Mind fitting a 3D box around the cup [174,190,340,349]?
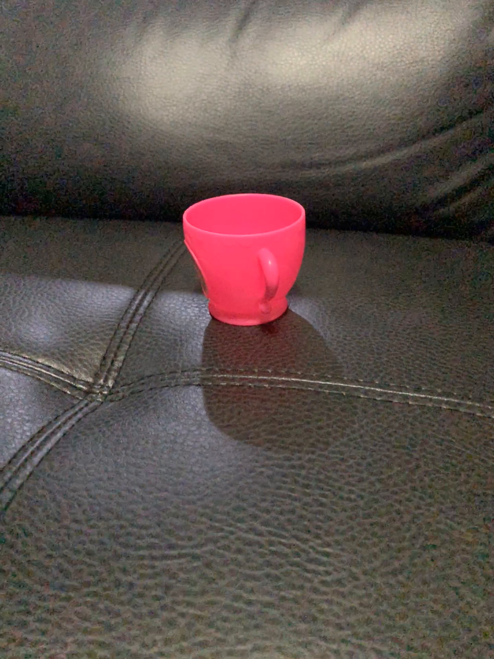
[{"bbox_3d":[0.001,-0.033,0.249,0.061,0.047,0.074,-7,29,-11],"label":"cup"}]
